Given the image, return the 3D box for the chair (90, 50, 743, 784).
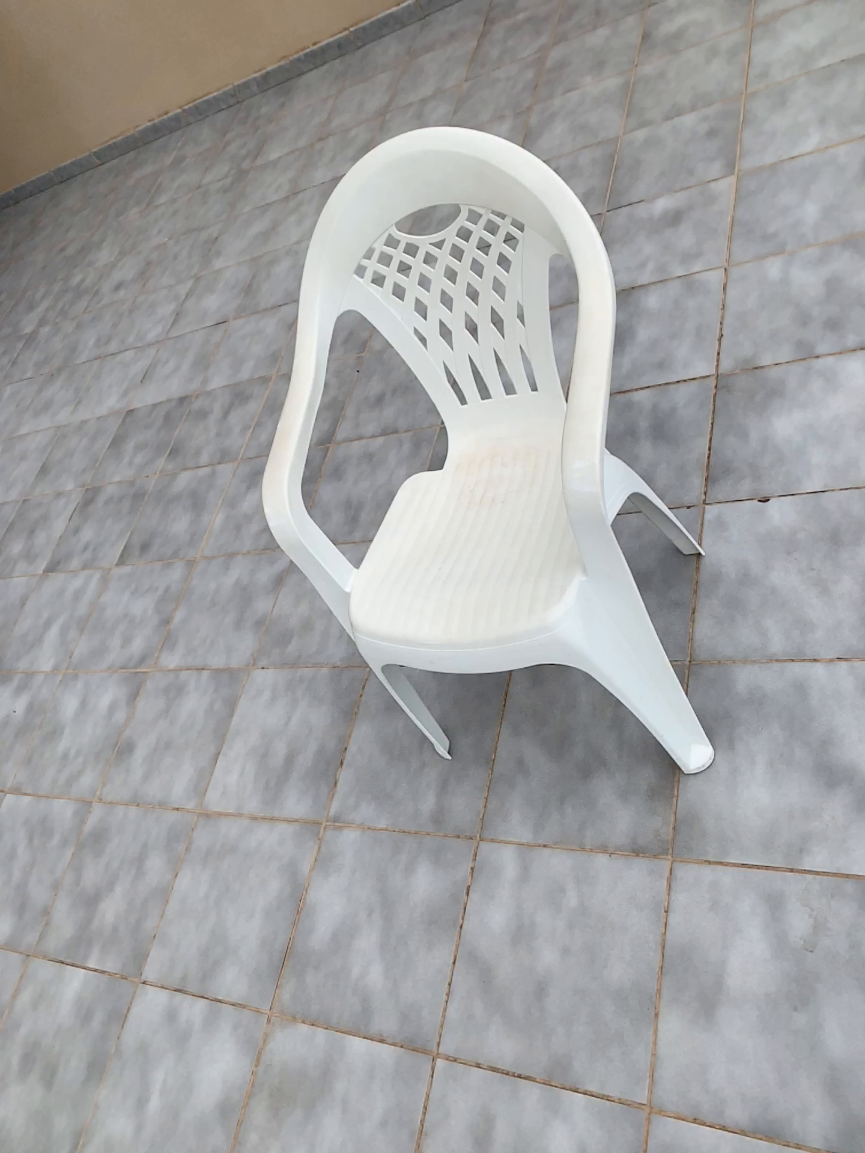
[{"bbox_3d":[0.086,-0.143,1.348,0.544,0.822,0.611,-4,56,31],"label":"chair"}]
